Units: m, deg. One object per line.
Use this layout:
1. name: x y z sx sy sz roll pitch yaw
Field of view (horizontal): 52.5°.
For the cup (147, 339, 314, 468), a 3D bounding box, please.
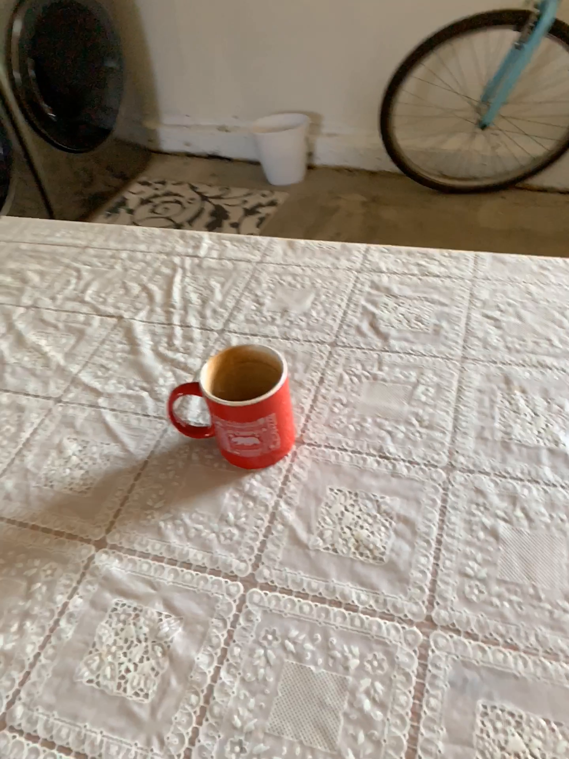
1. cup: -0.047 0.023 0.584 0.140 0.080 0.100 0 47 11
